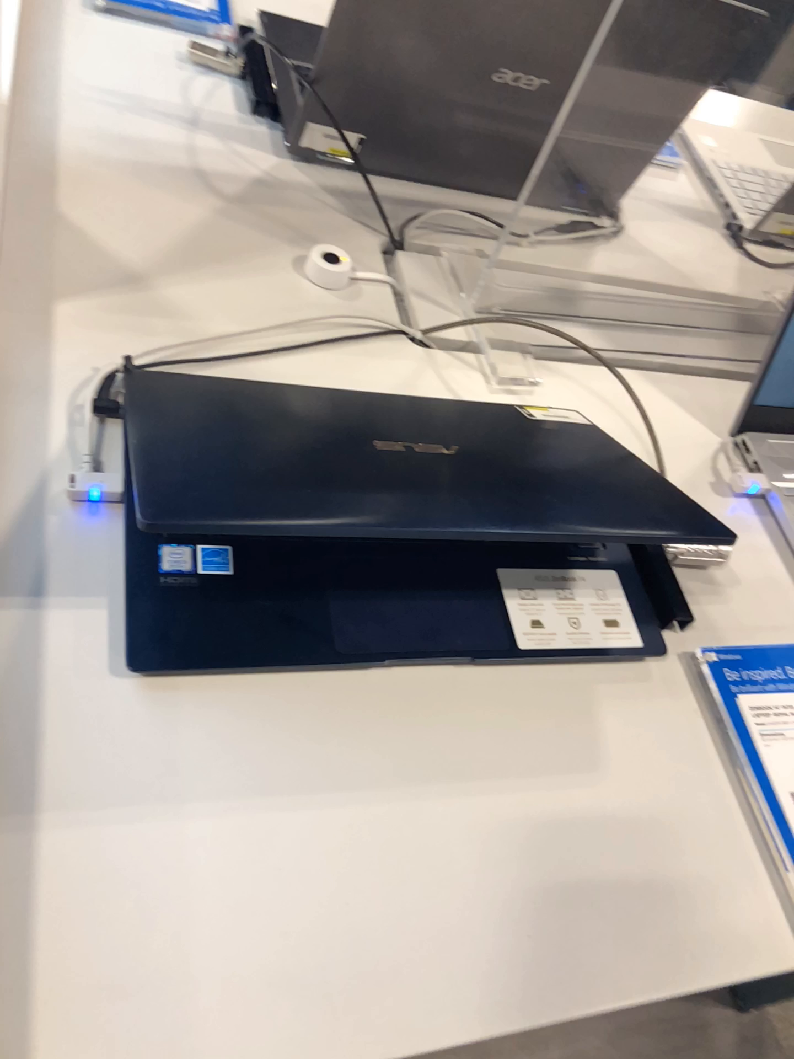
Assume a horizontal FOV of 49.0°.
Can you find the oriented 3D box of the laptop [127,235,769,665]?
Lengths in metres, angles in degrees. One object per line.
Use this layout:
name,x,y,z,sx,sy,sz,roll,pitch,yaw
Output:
laptop,0.015,-0.040,0.489,0.310,0.095,0.203,2,52,-22
